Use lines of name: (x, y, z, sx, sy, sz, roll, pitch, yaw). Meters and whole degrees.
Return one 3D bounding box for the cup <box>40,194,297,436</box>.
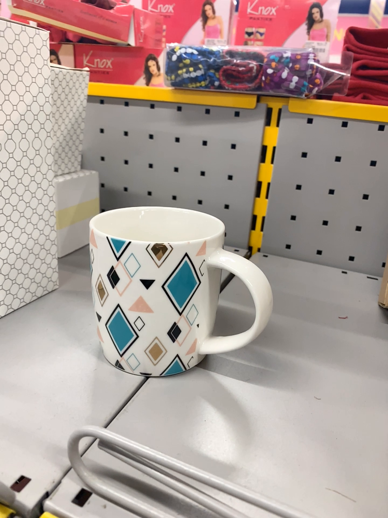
cup: (-0.014, 0.021, 0.258, 0.120, 0.090, 0.100, 15, 24, 25)
